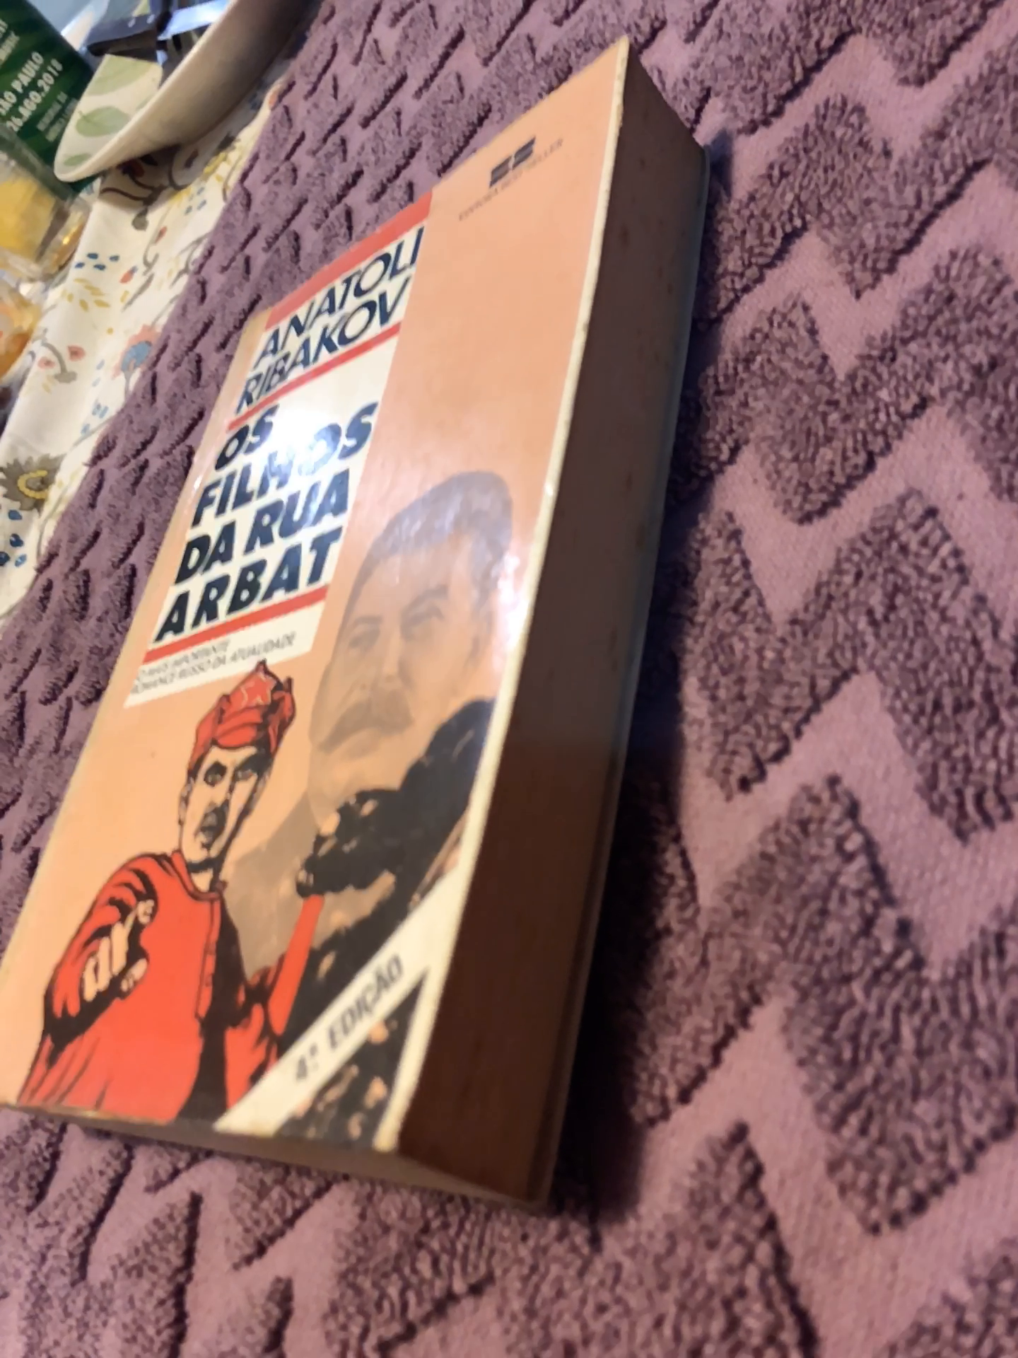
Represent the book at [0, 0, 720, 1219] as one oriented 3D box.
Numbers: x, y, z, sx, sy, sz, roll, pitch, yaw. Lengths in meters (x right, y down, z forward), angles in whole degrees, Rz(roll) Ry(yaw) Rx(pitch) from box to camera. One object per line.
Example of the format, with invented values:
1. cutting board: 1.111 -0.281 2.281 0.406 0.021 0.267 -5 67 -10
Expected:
1. book: -0.036 -0.012 0.216 0.141 0.040 0.190 -15 55 41
